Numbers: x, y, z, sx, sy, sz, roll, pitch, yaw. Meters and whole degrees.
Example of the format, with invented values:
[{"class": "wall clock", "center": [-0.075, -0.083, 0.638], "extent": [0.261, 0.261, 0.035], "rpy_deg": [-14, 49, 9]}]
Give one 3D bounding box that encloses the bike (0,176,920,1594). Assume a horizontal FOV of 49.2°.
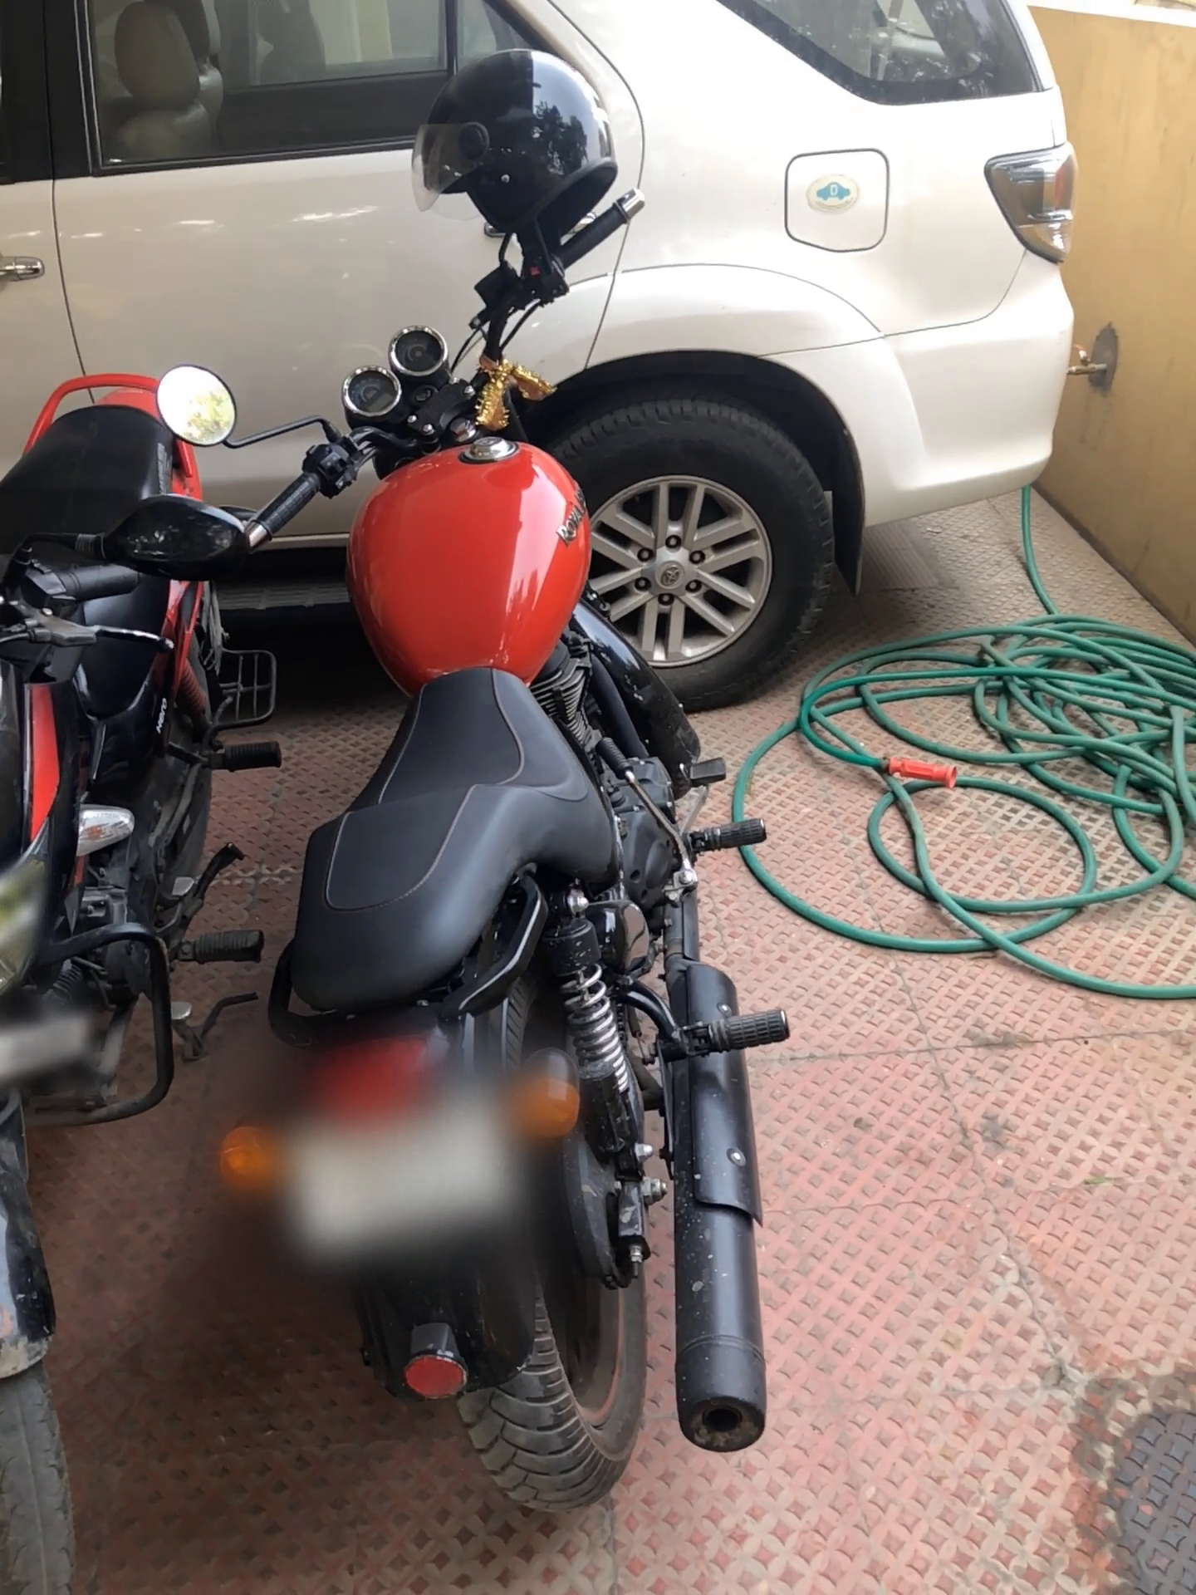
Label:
[{"class": "bike", "center": [-0.235, -0.060, 1.860], "extent": [0.820, 1.270, 1.722], "rpy_deg": [-2, 33, -1]}]
